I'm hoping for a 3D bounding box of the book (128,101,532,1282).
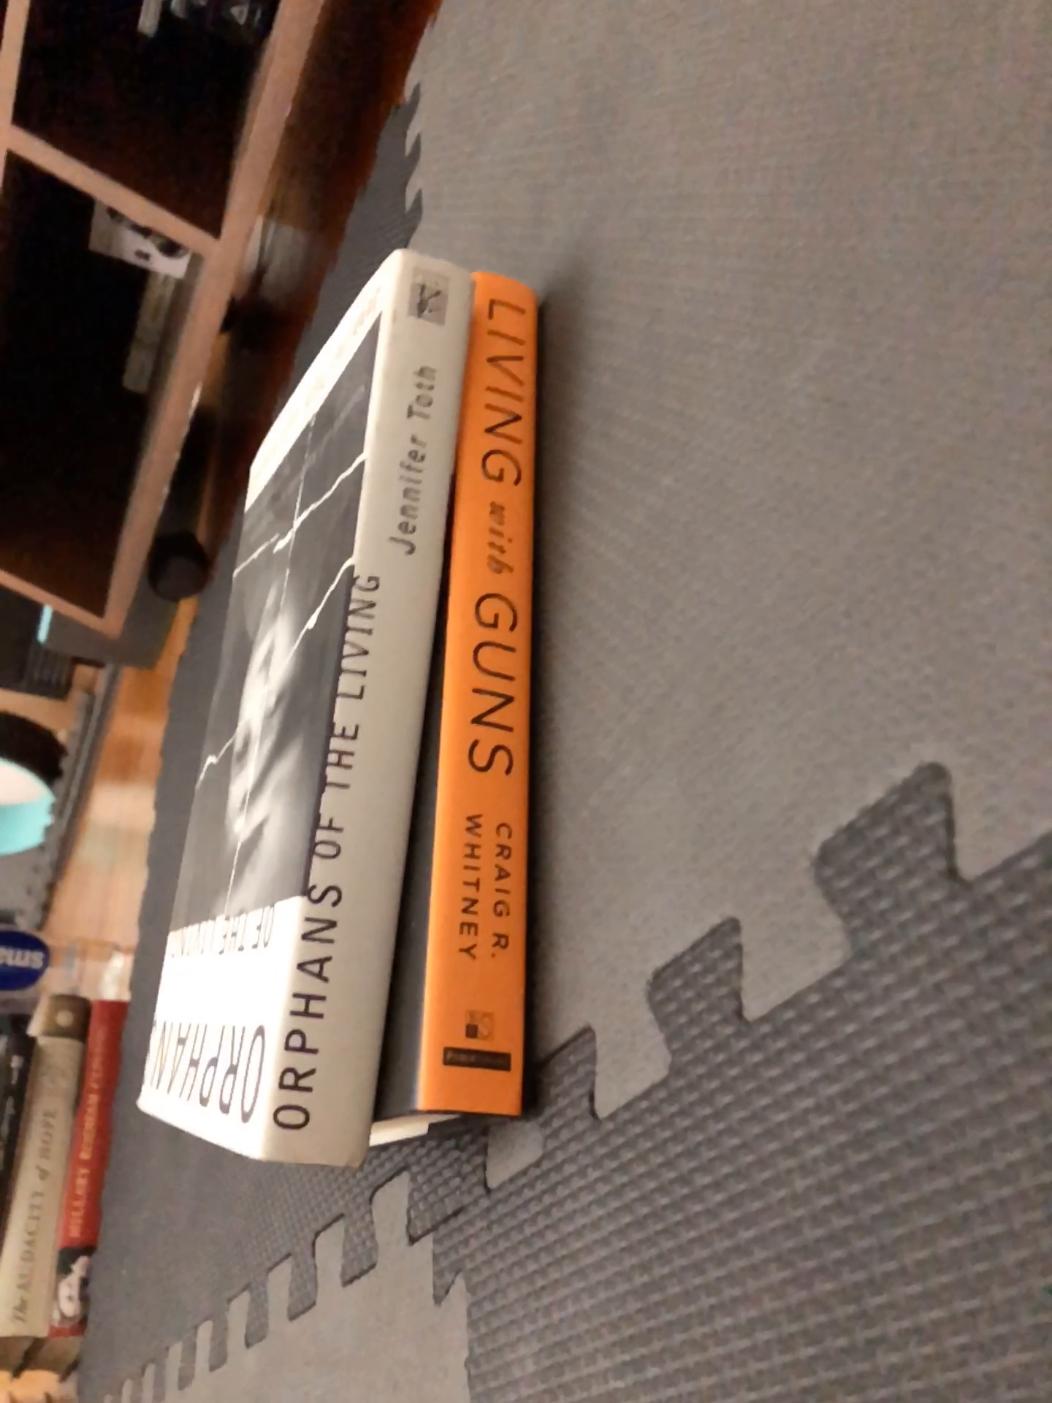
[{"bbox_3d":[-0.064,0.000,0.347,0.181,0.030,0.280,-29,52,61],"label":"book"}]

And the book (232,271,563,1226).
[{"bbox_3d":[-0.040,0.020,0.356,0.160,0.030,0.250,-42,40,54],"label":"book"}]
